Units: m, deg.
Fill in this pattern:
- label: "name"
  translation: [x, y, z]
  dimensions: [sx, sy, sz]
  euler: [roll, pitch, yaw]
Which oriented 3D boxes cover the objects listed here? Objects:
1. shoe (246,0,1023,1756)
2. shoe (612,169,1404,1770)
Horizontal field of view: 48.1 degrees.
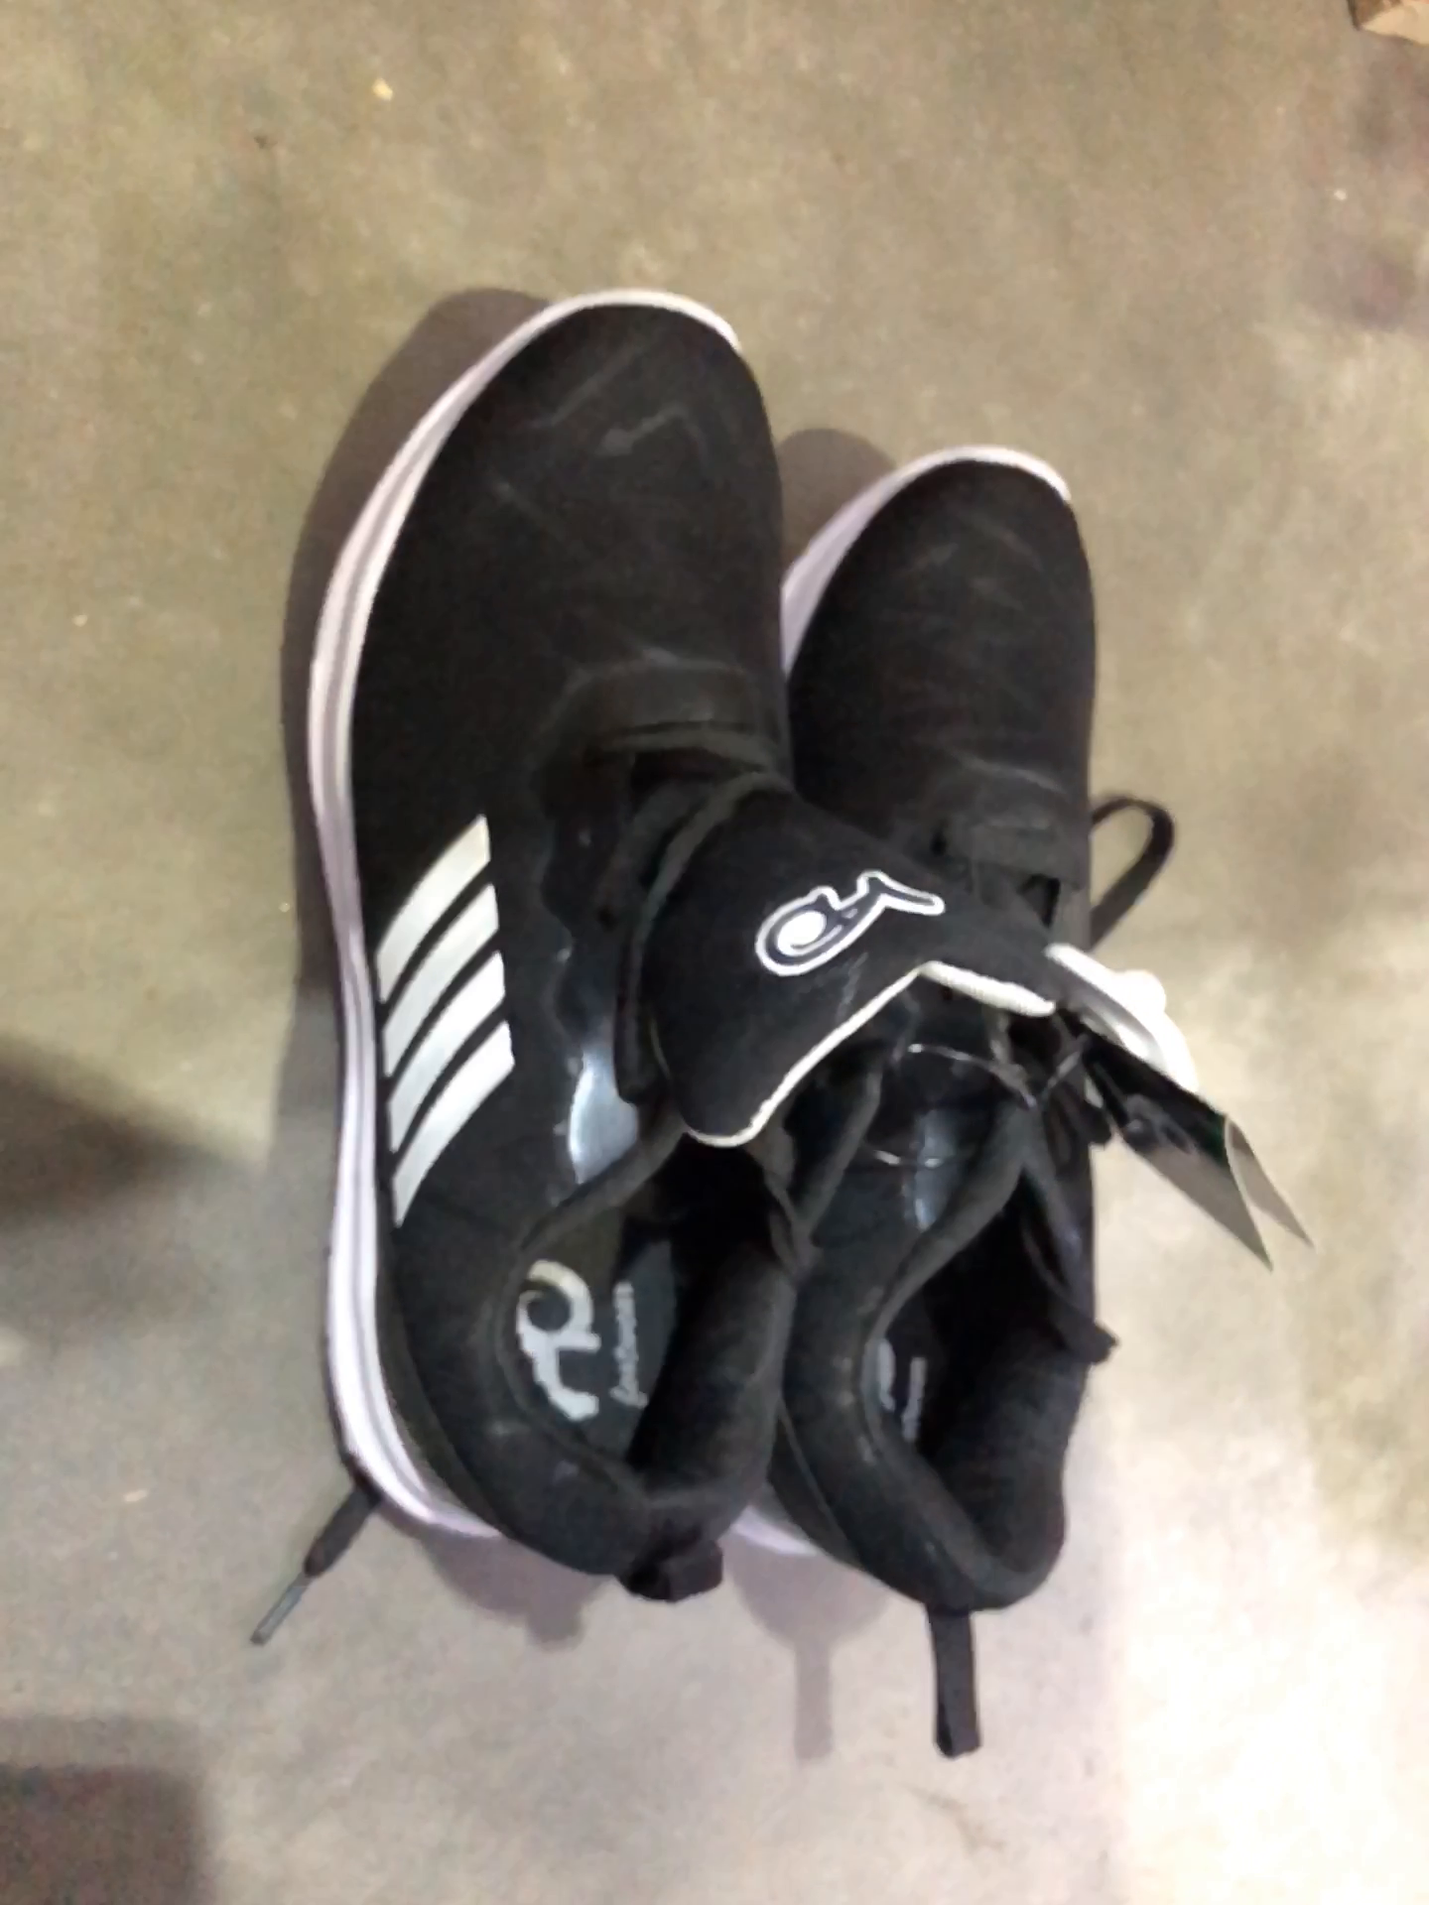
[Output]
- label: "shoe"
  translation: [-0.021, -0.026, 0.361]
  dimensions: [0.120, 0.130, 0.330]
  euler: [5, 83, -29]
- label: "shoe"
  translation: [0.071, 0.005, 0.398]
  dimensions: [0.110, 0.130, 0.320]
  euler: [11, 80, -28]
